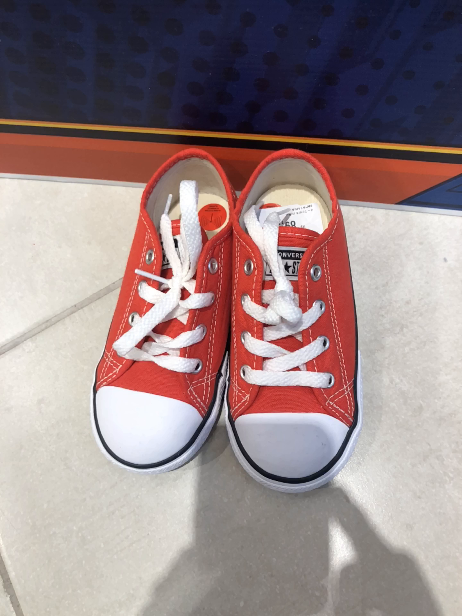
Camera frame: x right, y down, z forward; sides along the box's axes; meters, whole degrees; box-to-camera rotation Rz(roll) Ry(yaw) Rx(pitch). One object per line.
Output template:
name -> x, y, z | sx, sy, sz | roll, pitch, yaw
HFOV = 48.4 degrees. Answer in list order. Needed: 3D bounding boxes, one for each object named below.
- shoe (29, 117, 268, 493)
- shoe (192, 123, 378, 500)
shoe -> -0.034, -0.003, 0.291 | 0.080, 0.070, 0.190 | 7, 73, 9
shoe -> 0.029, 0.002, 0.285 | 0.080, 0.070, 0.190 | -1, 72, 7
